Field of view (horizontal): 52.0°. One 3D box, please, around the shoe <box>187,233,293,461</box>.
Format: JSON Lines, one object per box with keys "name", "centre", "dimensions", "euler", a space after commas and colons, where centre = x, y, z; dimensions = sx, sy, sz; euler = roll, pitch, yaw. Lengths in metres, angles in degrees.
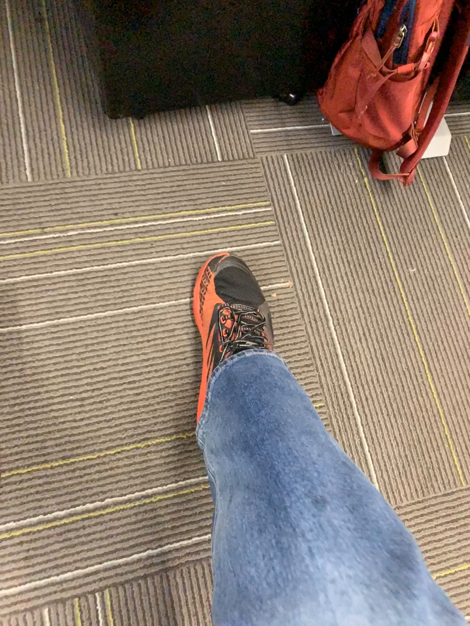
{"name": "shoe", "centre": [-0.001, 0.048, 0.704], "dimensions": [0.130, 0.077, 0.318], "euler": [1, 73, -10]}
